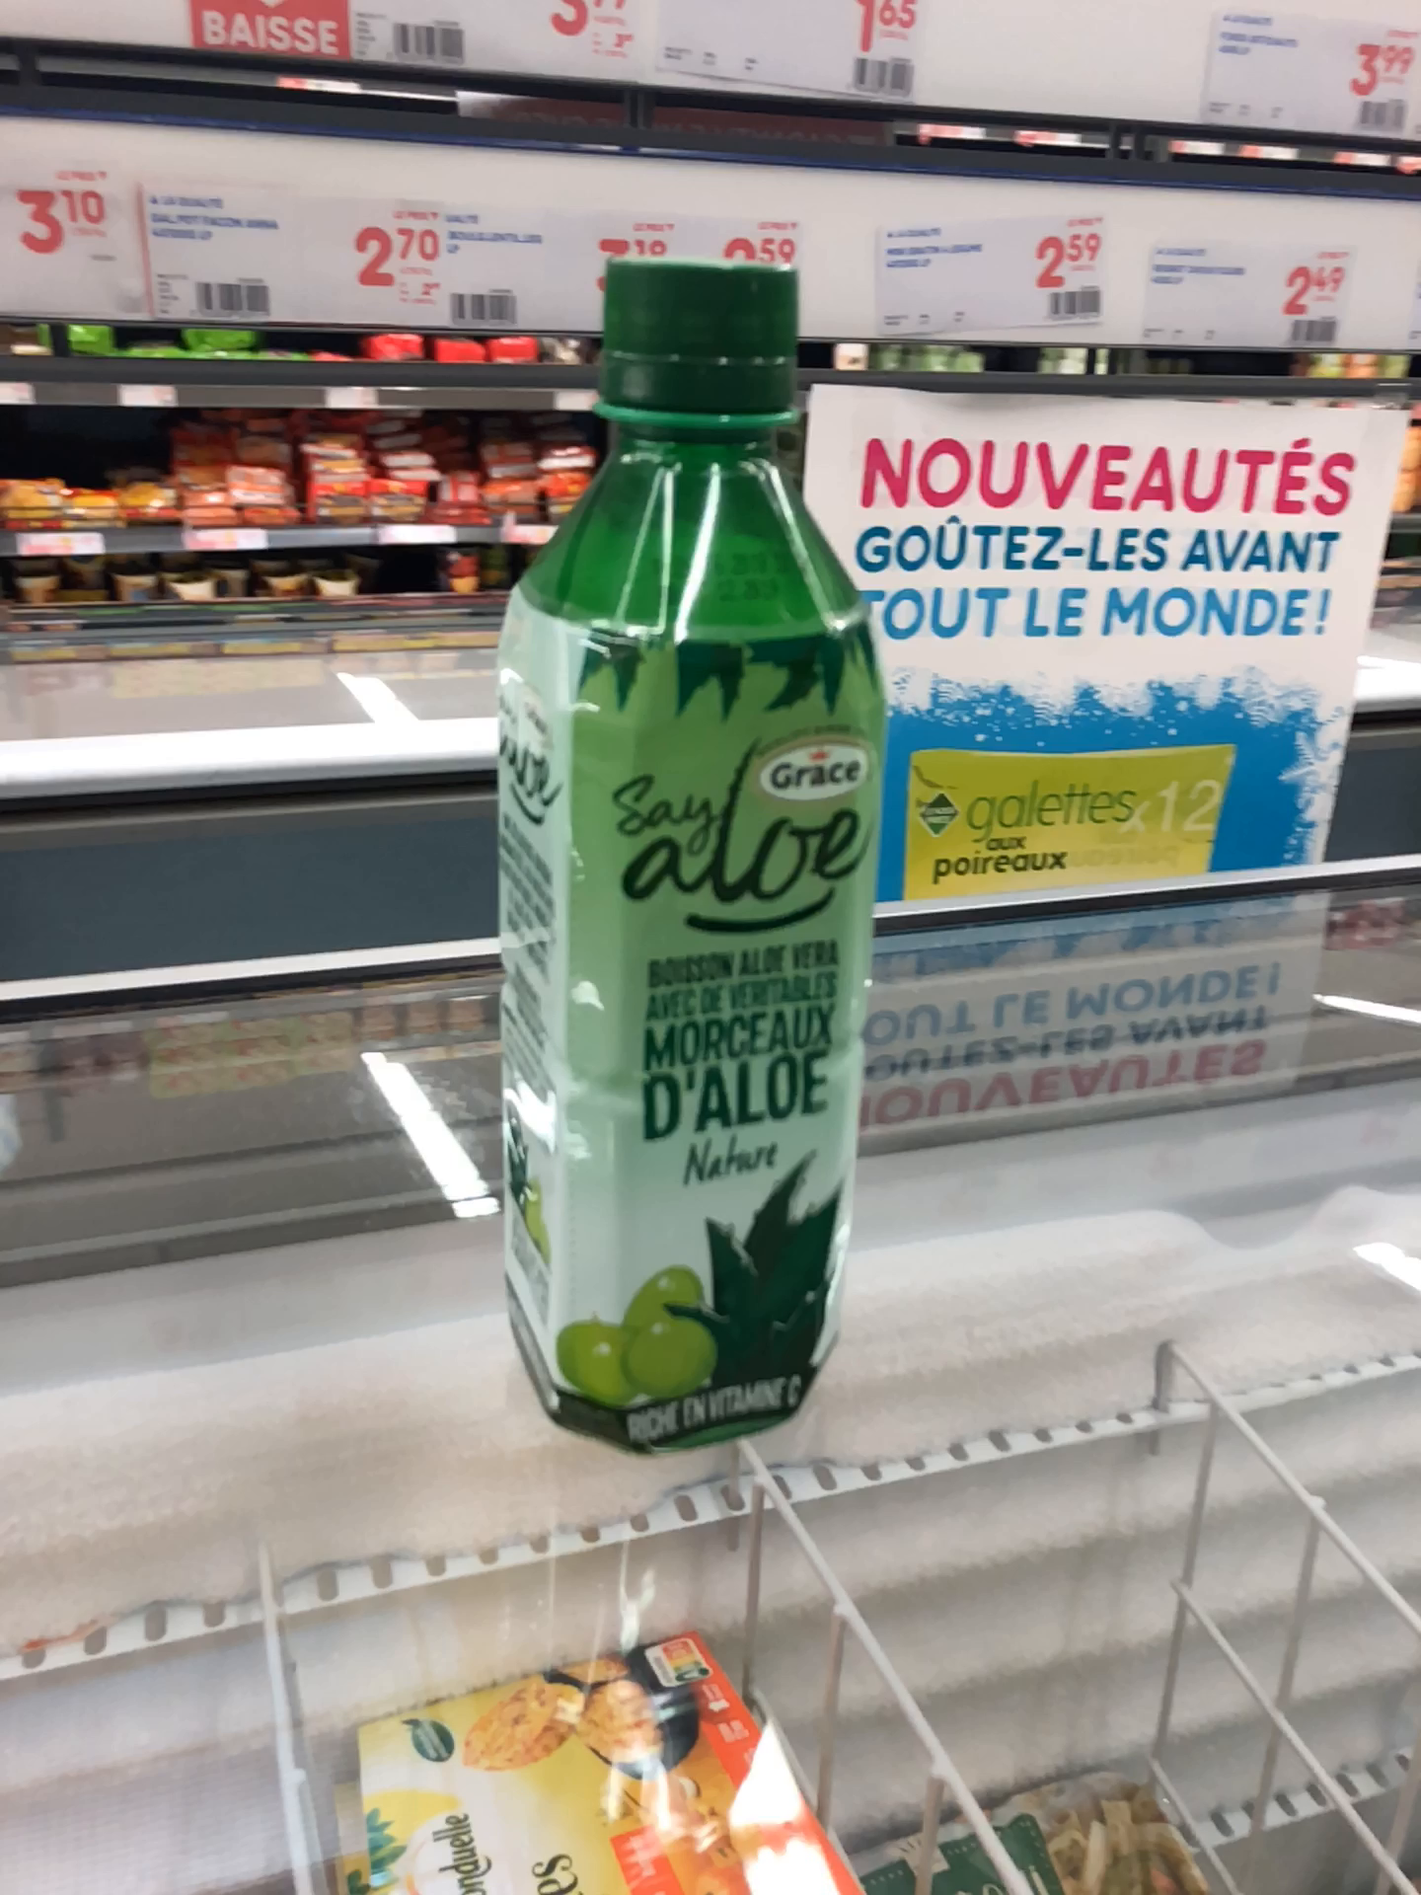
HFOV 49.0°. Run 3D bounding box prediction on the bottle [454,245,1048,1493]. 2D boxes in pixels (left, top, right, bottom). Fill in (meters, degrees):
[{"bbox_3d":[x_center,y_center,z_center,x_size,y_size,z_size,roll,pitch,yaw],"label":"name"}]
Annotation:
[{"bbox_3d":[0.000,-0.014,0.279,0.070,0.199,0.070,2,22,-1],"label":"bottle"}]
